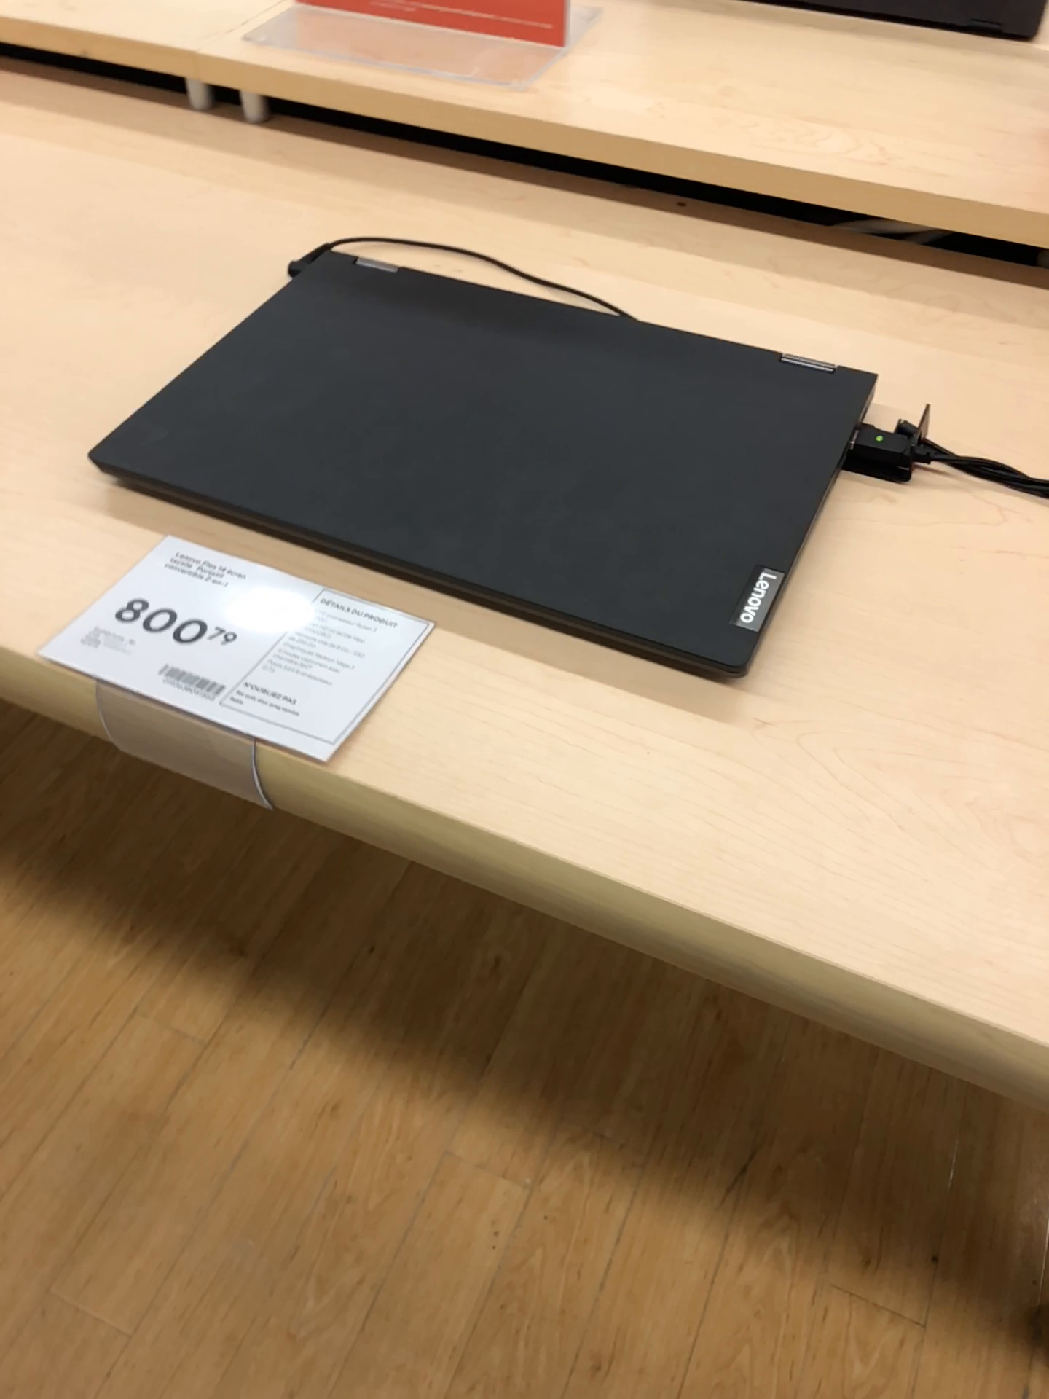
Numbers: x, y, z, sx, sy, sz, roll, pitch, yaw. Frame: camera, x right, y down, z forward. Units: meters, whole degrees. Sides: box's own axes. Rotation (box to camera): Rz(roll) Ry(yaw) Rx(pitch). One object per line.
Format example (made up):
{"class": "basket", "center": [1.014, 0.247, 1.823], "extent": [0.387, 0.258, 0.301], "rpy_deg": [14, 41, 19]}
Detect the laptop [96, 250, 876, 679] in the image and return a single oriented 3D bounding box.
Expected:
{"class": "laptop", "center": [-0.013, -0.137, 0.581], "extent": [0.326, 0.009, 0.212], "rpy_deg": [19, 53, 15]}
